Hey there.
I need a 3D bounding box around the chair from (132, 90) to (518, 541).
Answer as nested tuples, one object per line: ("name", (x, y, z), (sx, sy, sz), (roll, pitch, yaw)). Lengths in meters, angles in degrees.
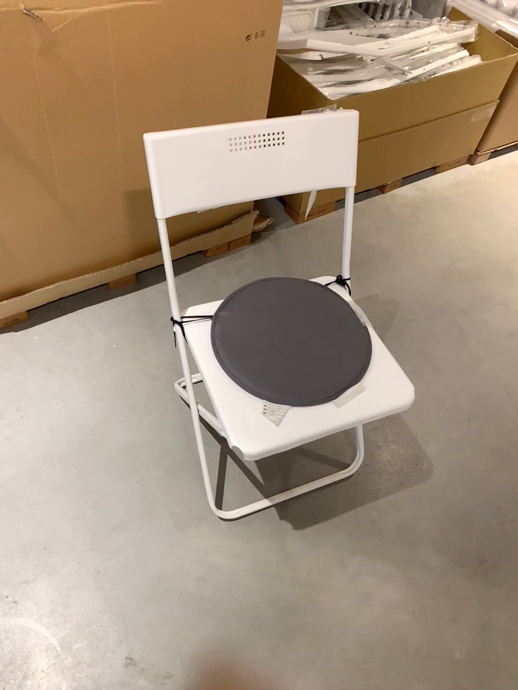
("chair", (0.067, -0.020, 1.085), (0.490, 0.738, 0.481), (-14, 57, -18))
